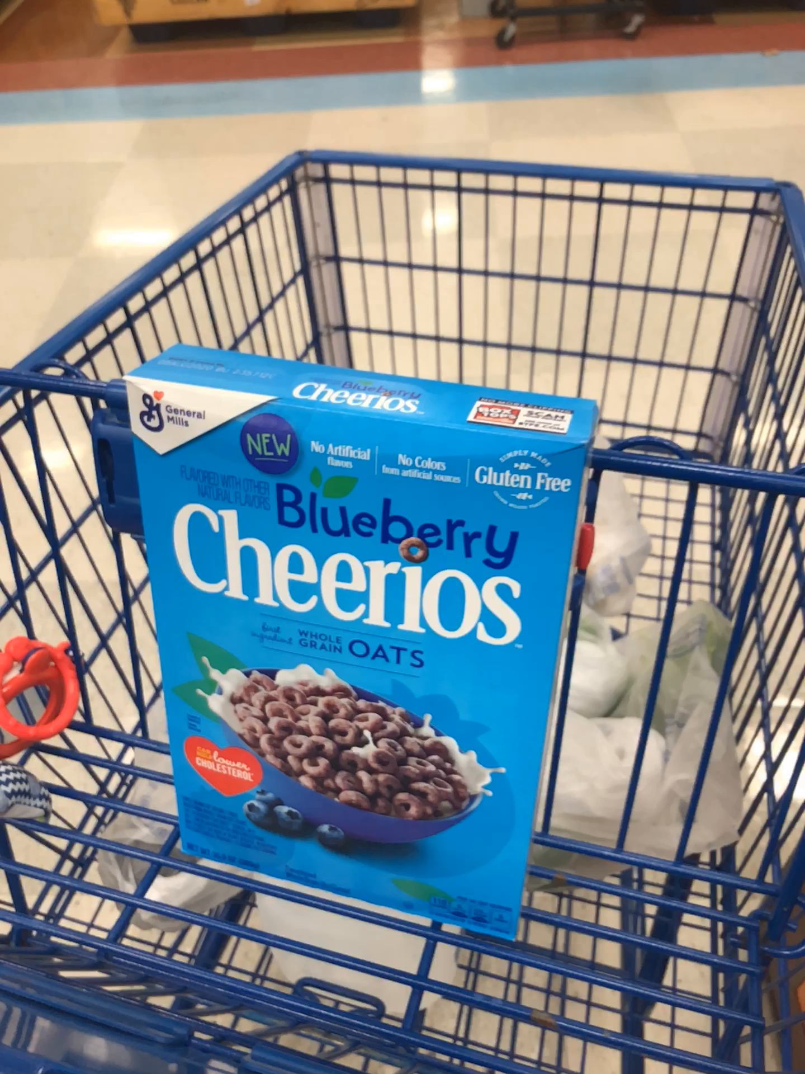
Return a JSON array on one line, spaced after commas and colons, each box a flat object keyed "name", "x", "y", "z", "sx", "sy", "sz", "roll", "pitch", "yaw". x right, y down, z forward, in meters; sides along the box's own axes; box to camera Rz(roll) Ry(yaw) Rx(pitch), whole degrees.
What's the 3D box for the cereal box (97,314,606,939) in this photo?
[{"name": "cereal box", "x": -0.024, "y": 0.048, "z": 0.442, "sx": 0.200, "sy": 0.280, "sz": 0.070, "roll": 9, "pitch": 29, "yaw": 13}]
